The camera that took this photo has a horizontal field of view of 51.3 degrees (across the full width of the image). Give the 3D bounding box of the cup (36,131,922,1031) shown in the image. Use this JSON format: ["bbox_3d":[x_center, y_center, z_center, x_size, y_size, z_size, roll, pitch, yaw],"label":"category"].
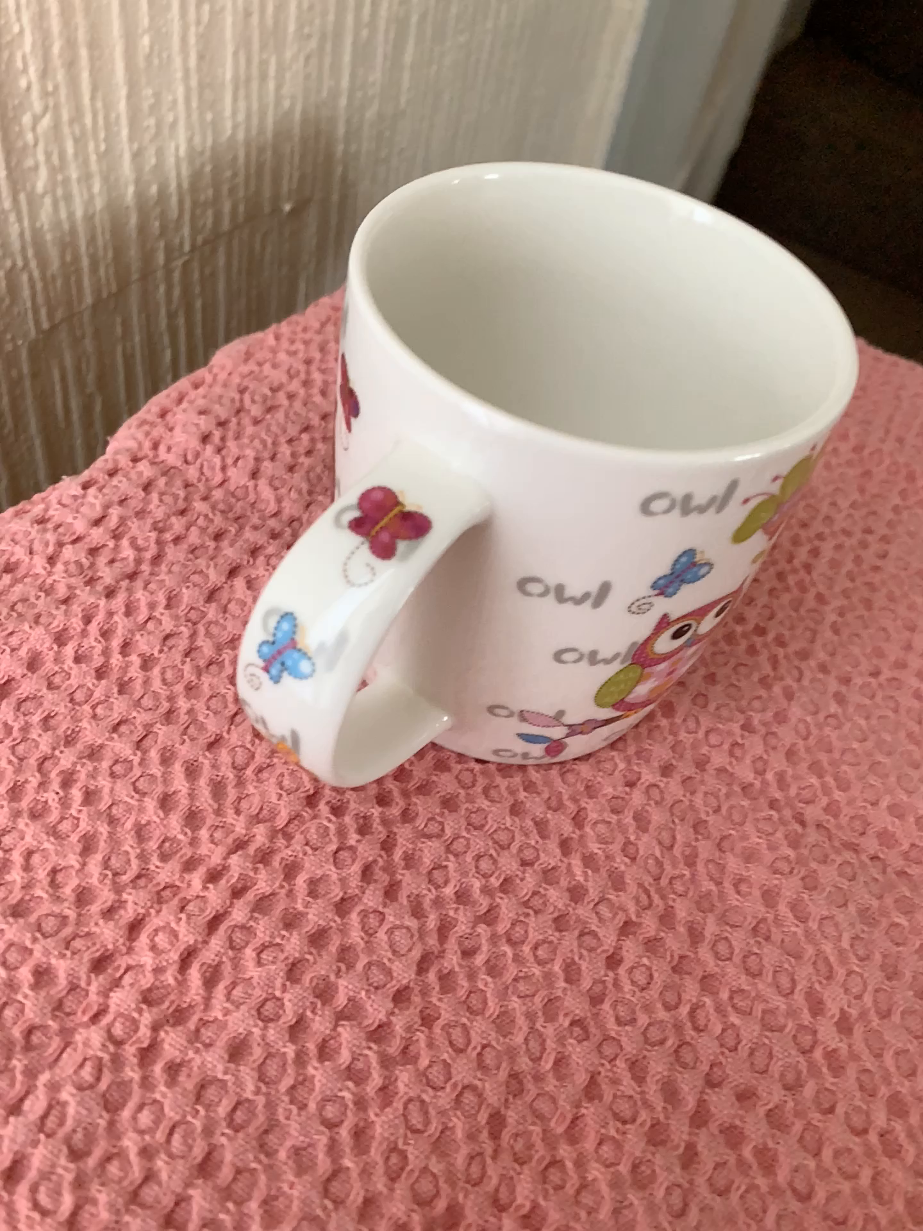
[{"bbox_3d":[0.008,-0.014,0.183,0.090,0.089,0.121,33,50,16],"label":"cup"}]
